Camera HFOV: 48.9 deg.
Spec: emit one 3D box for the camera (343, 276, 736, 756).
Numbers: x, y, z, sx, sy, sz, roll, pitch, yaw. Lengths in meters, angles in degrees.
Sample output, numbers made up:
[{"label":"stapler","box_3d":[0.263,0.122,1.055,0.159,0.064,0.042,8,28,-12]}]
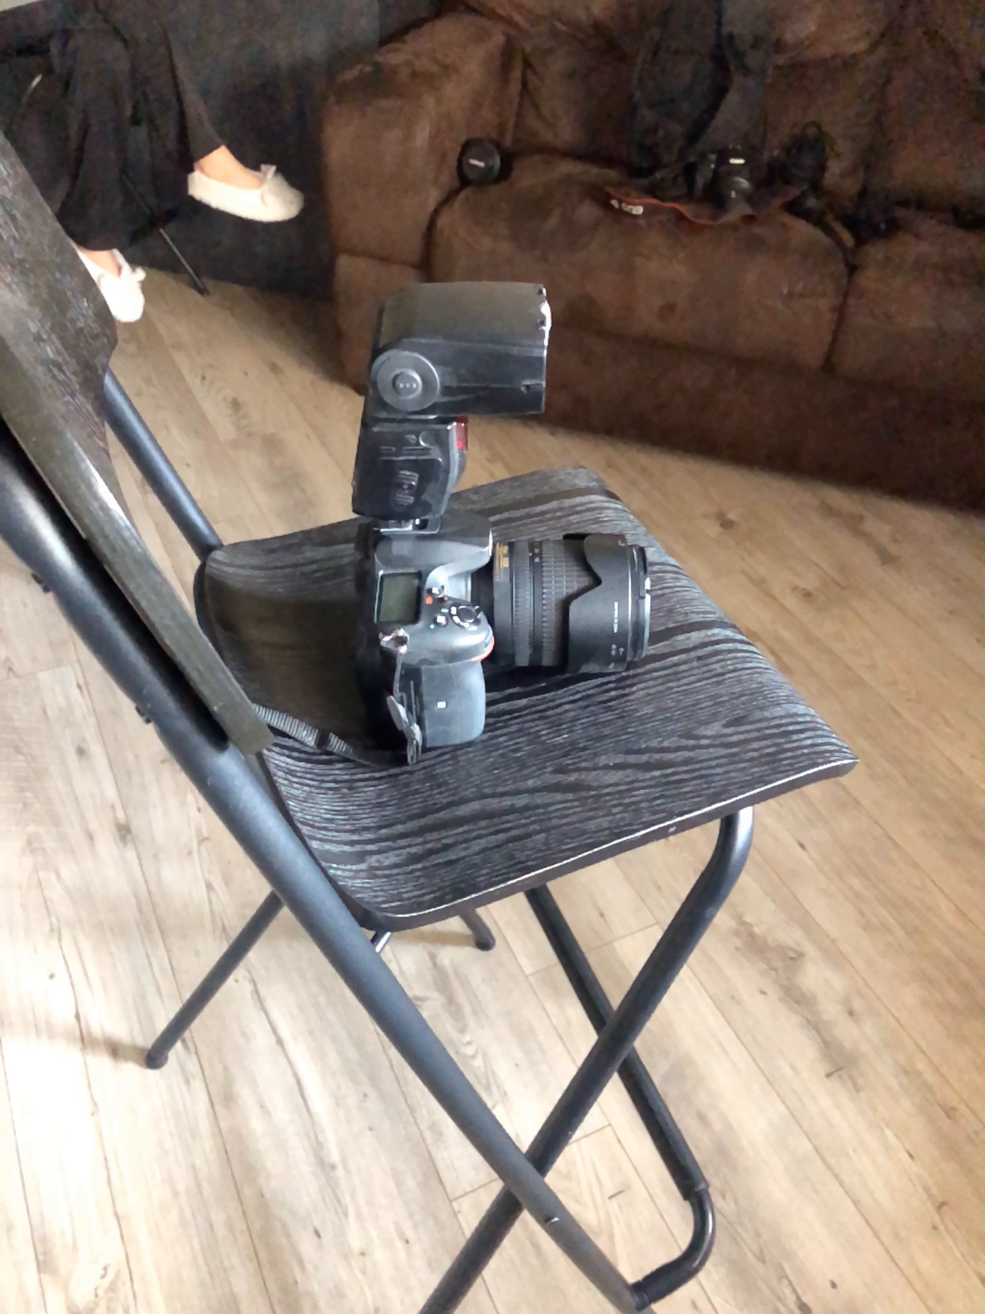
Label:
[{"label":"camera","box_3d":[0.012,-0.067,0.577,0.167,0.217,0.126,1,44,-4]}]
